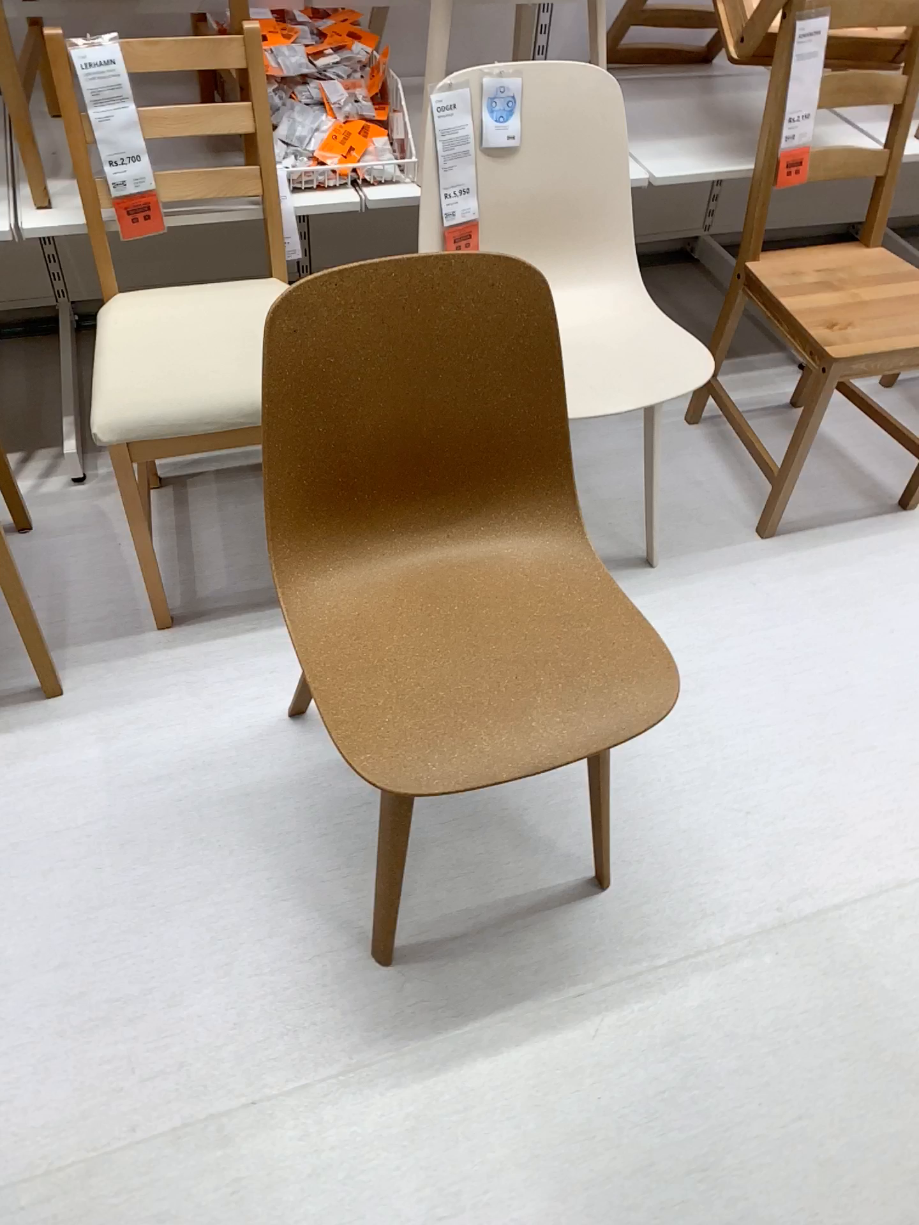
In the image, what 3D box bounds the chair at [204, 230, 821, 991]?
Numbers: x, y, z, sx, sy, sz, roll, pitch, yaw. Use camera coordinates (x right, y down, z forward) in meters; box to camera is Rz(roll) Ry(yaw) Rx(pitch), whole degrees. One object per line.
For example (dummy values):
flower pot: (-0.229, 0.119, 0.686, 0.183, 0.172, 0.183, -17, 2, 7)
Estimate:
chair: (-0.007, 0.010, 1.236, 0.460, 0.757, 0.562, -13, 49, -16)
